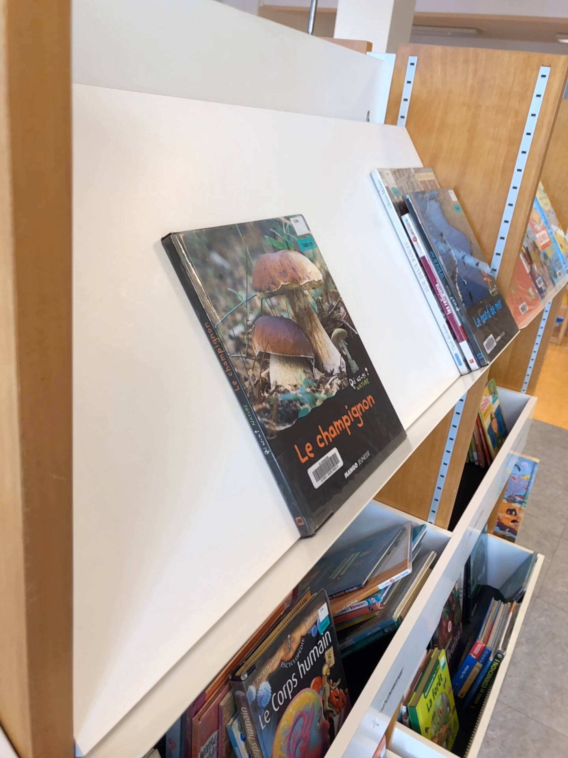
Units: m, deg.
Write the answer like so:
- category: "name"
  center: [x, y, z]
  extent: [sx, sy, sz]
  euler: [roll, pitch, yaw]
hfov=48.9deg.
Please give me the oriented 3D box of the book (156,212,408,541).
- category: "book"
  center: [0.015, -0.021, 0.538]
  extent: [0.020, 0.242, 0.203]
  euler: [-23, 4, 34]
